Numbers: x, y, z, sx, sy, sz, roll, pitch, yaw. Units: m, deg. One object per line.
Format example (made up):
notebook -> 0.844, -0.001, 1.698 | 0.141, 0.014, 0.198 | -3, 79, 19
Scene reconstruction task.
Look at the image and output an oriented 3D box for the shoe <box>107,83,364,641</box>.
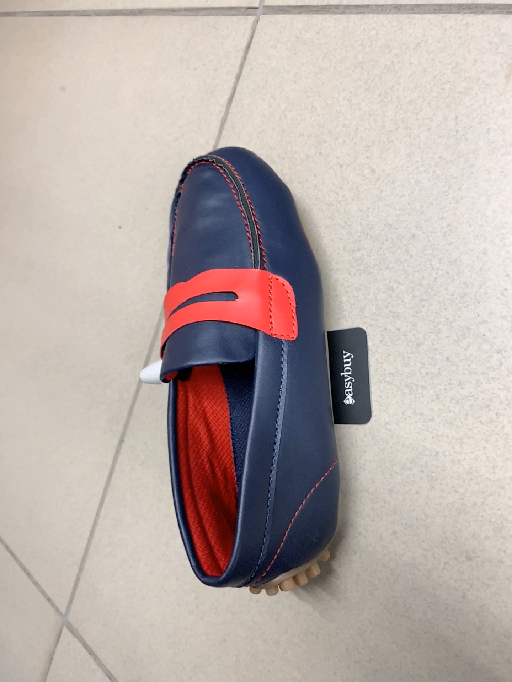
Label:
shoe -> -0.014, 0.008, 0.232 | 0.080, 0.050, 0.200 | -13, 78, 35
